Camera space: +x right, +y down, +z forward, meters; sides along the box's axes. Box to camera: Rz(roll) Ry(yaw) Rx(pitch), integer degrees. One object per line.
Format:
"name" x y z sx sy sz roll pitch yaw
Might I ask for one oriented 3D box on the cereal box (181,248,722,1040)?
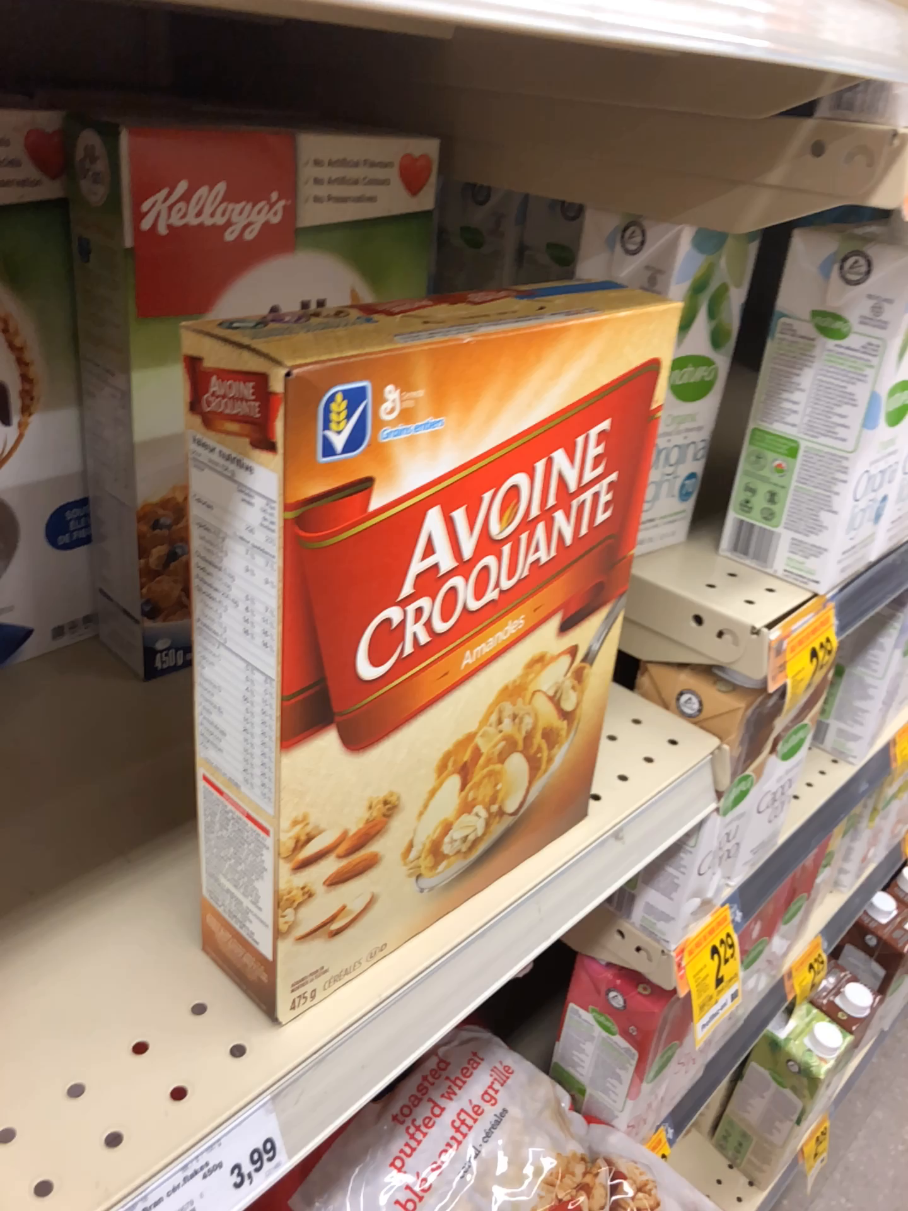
"cereal box" -0.002 0.007 0.401 0.060 0.268 0.201 29 36 35
